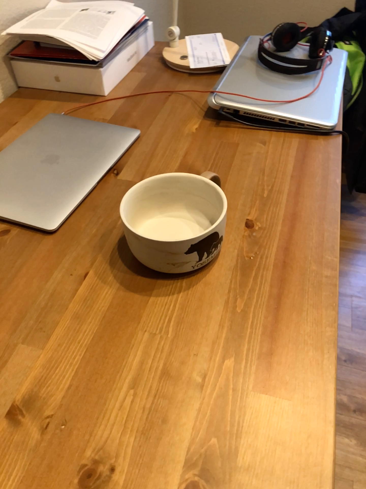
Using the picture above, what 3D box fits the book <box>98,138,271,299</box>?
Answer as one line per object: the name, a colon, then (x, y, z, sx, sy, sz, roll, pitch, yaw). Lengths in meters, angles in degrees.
book: (0.008, -0.045, 0.540, 0.130, 0.080, 0.190, 27, 52, 27)
